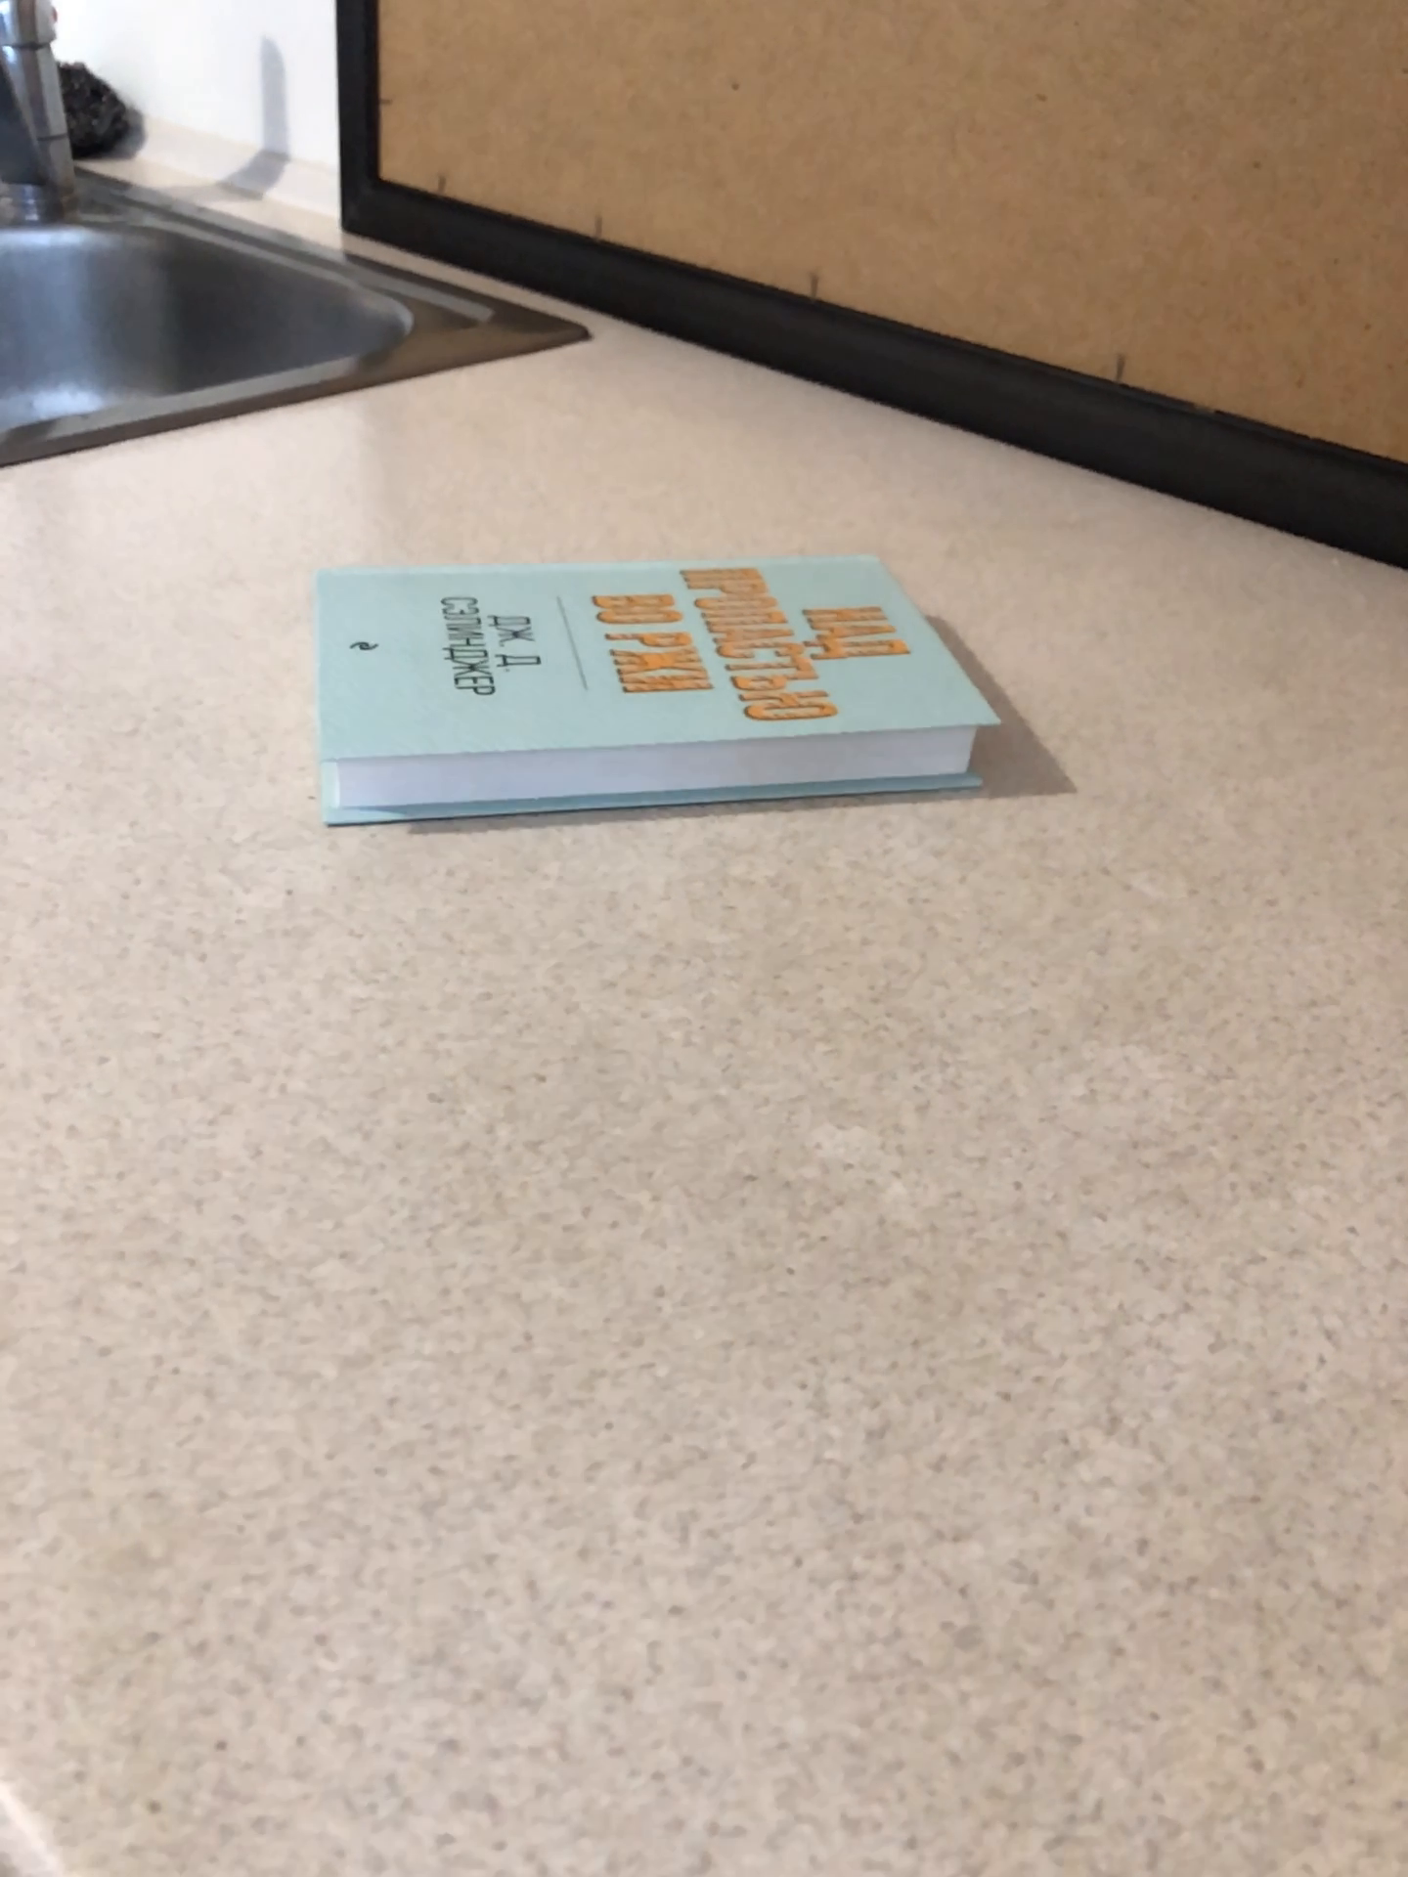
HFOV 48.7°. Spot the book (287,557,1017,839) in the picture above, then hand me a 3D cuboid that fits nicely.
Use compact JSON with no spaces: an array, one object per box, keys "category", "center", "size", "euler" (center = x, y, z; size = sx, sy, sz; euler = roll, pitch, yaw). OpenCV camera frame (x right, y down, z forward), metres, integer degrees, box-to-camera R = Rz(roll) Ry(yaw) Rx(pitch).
[{"category":"book","center":[-0.020,-0.070,0.420],"size":[0.175,0.020,0.115],"euler":[-4,35,-11]}]
